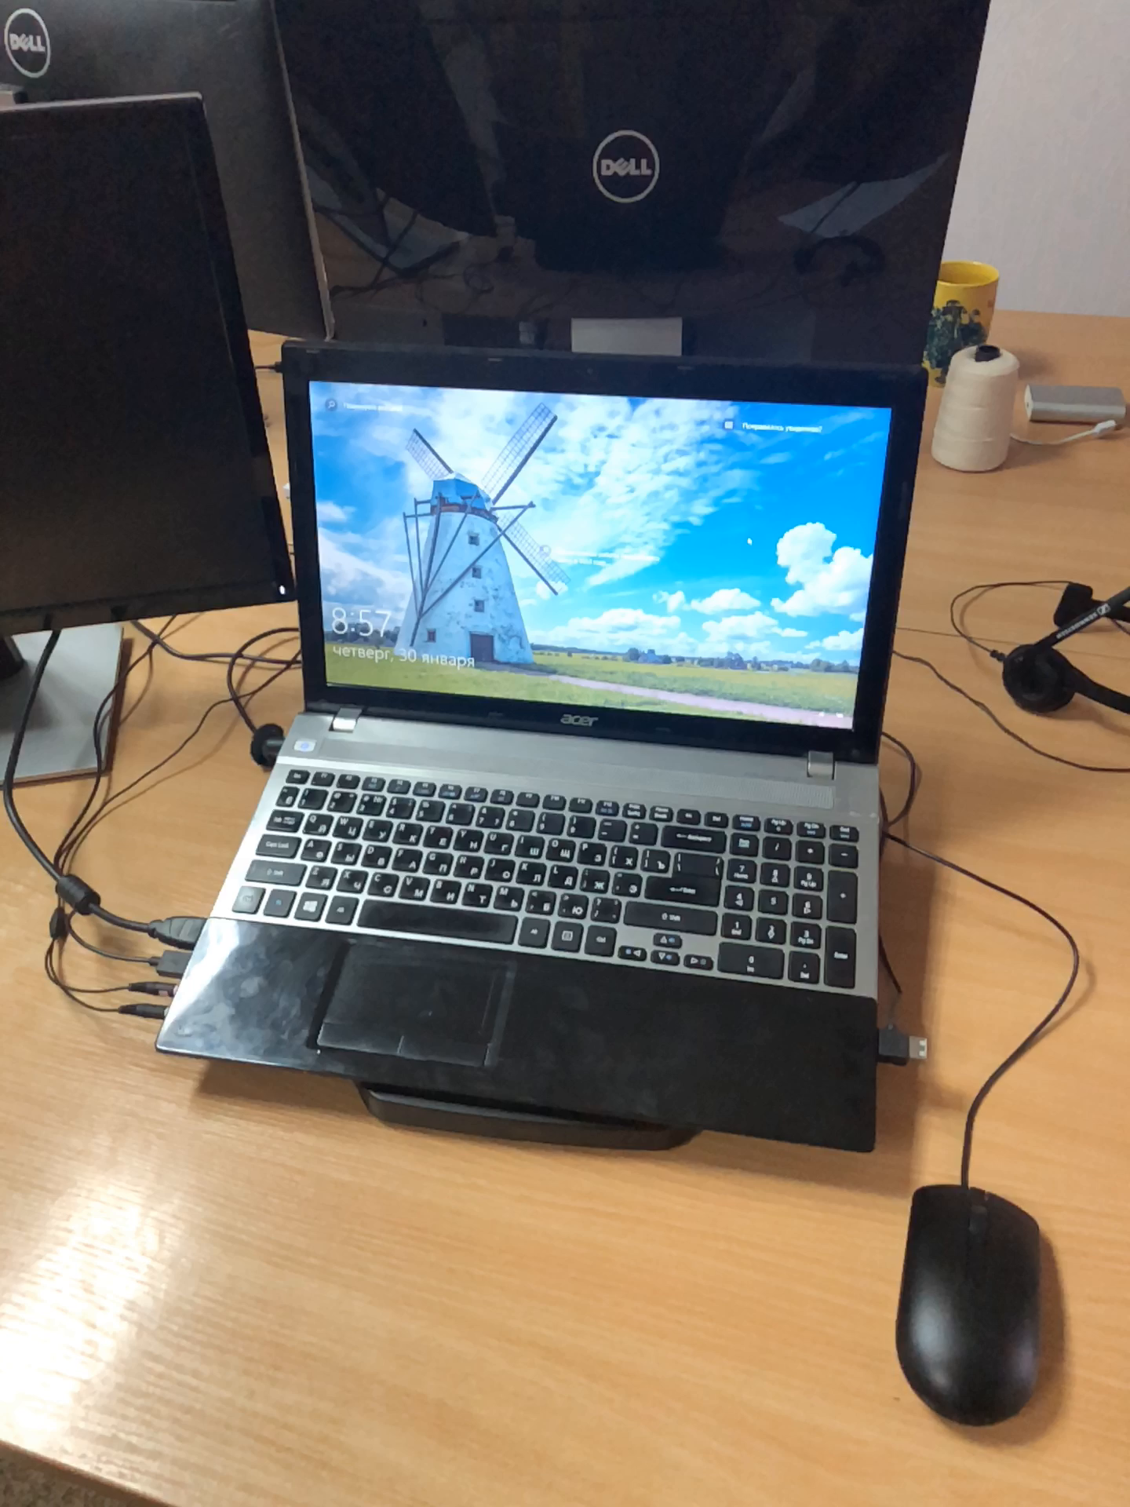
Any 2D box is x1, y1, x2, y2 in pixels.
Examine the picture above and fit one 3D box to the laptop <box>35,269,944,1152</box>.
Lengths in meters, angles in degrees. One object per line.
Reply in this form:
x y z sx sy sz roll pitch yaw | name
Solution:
-0.008 -0.049 0.673 0.373 0.211 0.361 5 49 9 | laptop
